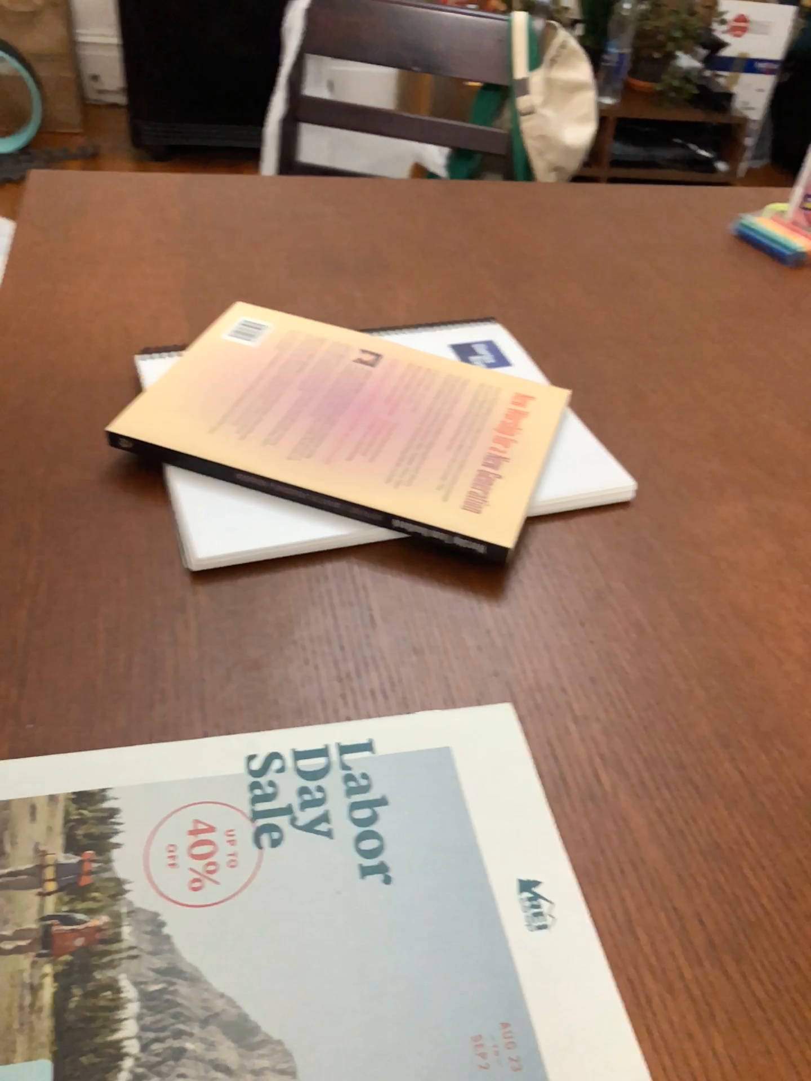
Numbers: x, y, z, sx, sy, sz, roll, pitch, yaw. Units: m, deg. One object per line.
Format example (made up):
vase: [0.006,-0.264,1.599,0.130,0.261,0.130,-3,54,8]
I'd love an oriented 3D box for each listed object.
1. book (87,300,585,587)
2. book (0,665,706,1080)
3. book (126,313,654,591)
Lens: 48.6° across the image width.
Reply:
book: [-0.032,-0.076,0.570,0.260,0.020,0.191,16,41,10]
book: [-0.057,0.139,0.332,0.270,0.010,0.201,-4,42,-13]
book: [-0.020,-0.078,0.600,0.290,0.020,0.231,-10,43,-19]
